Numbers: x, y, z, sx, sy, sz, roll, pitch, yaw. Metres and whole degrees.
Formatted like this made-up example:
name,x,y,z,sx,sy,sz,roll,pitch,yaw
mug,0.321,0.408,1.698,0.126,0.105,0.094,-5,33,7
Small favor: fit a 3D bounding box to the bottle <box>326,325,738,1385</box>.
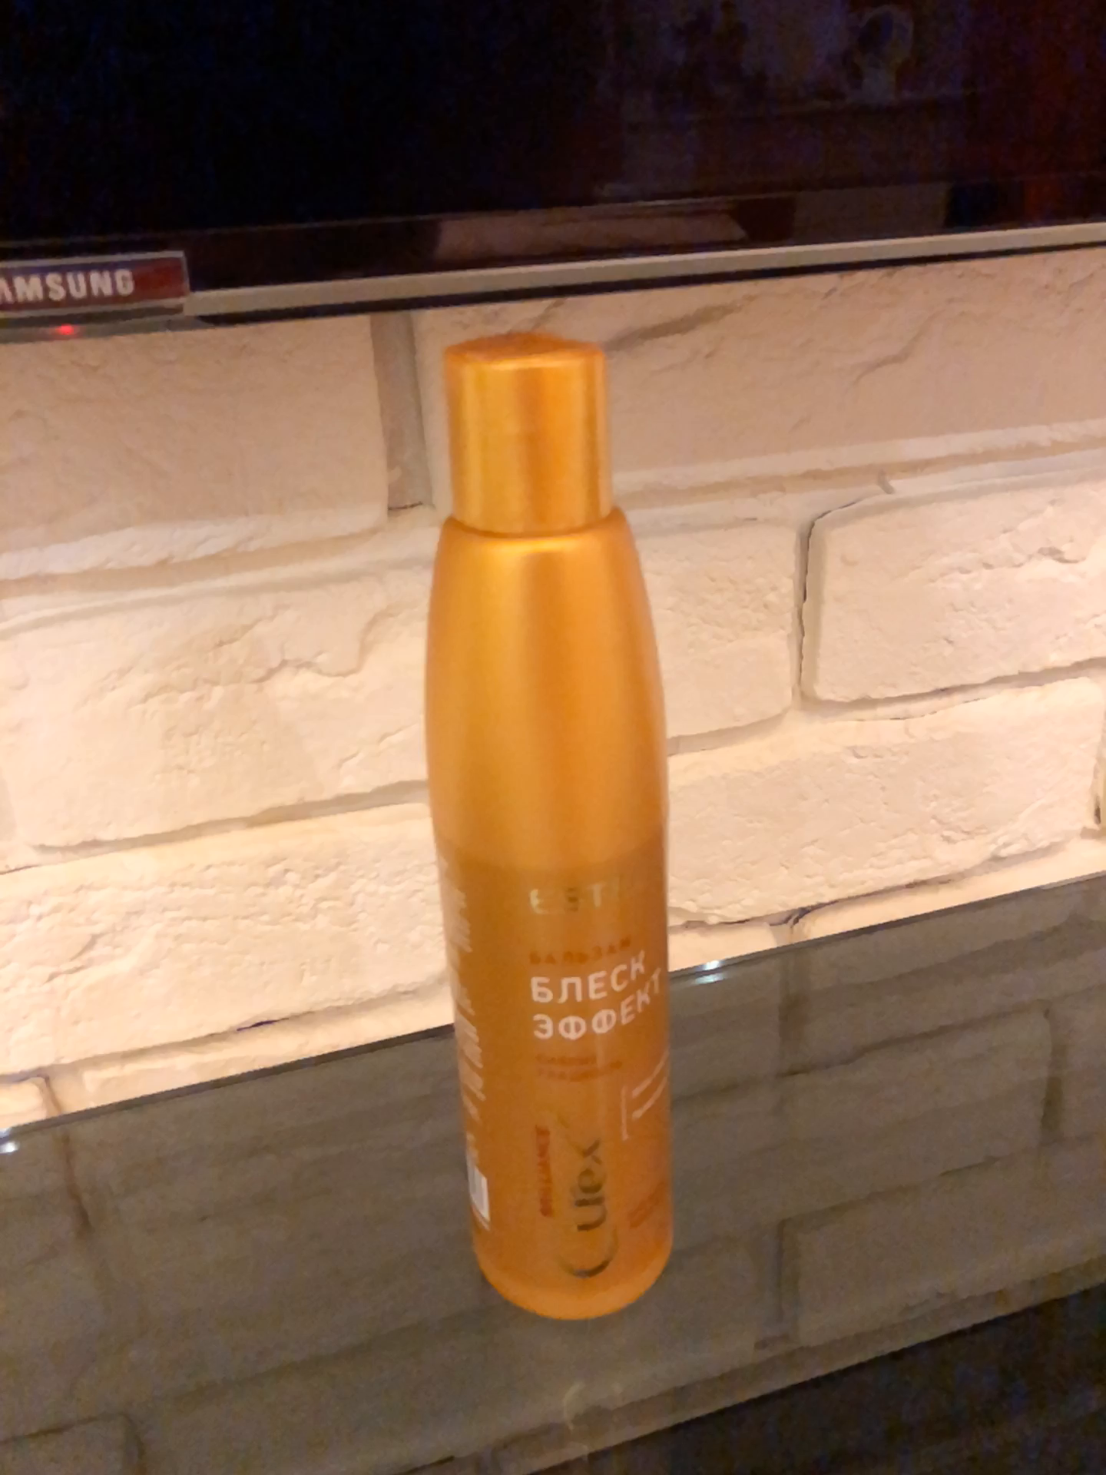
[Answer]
name,x,y,z,sx,sy,sz,roll,pitch,yaw
bottle,-0.002,0.027,0.243,0.050,0.199,0.060,-12,26,-19
